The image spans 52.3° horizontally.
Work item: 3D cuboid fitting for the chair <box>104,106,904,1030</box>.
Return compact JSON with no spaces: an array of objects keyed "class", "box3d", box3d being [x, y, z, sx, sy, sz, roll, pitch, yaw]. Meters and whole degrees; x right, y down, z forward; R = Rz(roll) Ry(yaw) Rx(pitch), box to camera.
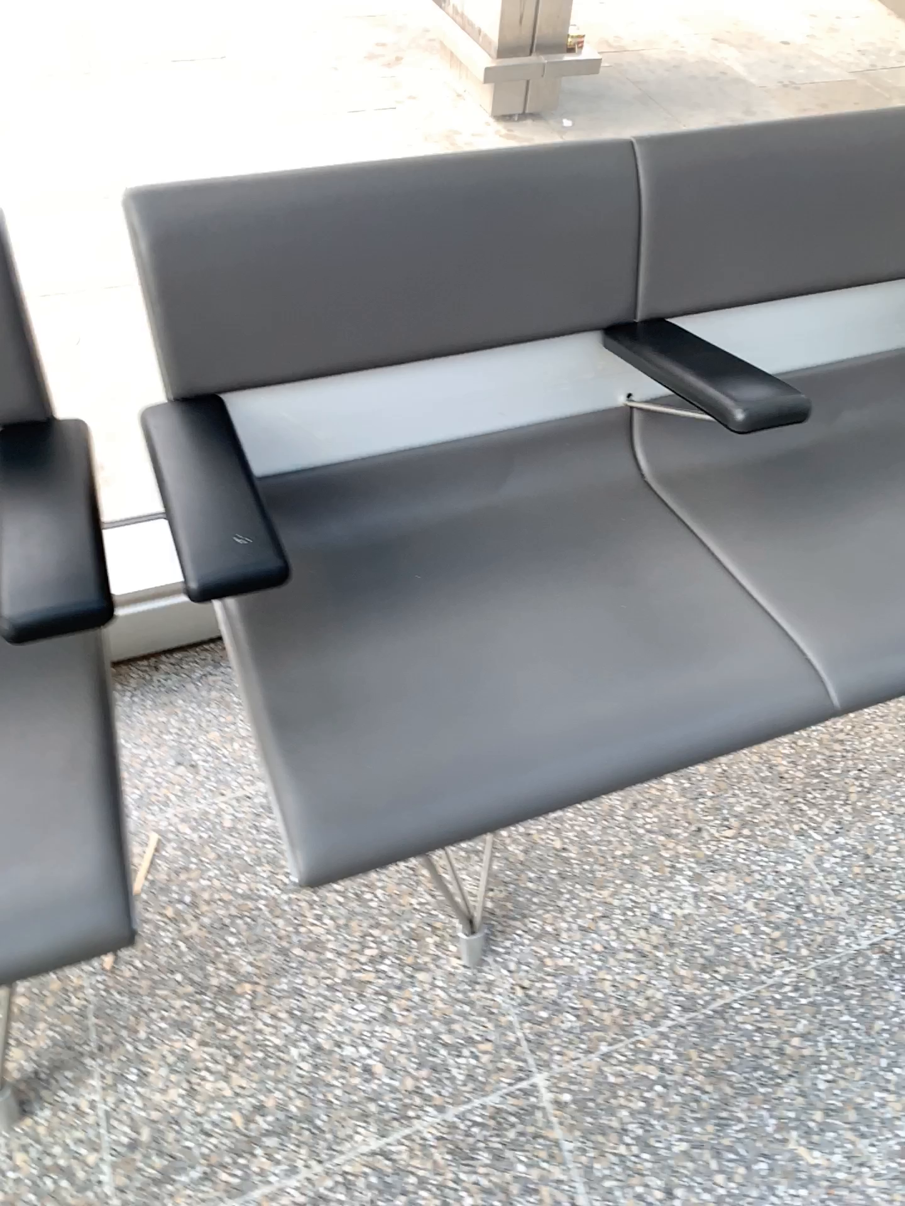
[{"class":"chair","box3d":[0.253,-0.125,1.318,1.202,0.713,0.826,-13,52,-16]}]
